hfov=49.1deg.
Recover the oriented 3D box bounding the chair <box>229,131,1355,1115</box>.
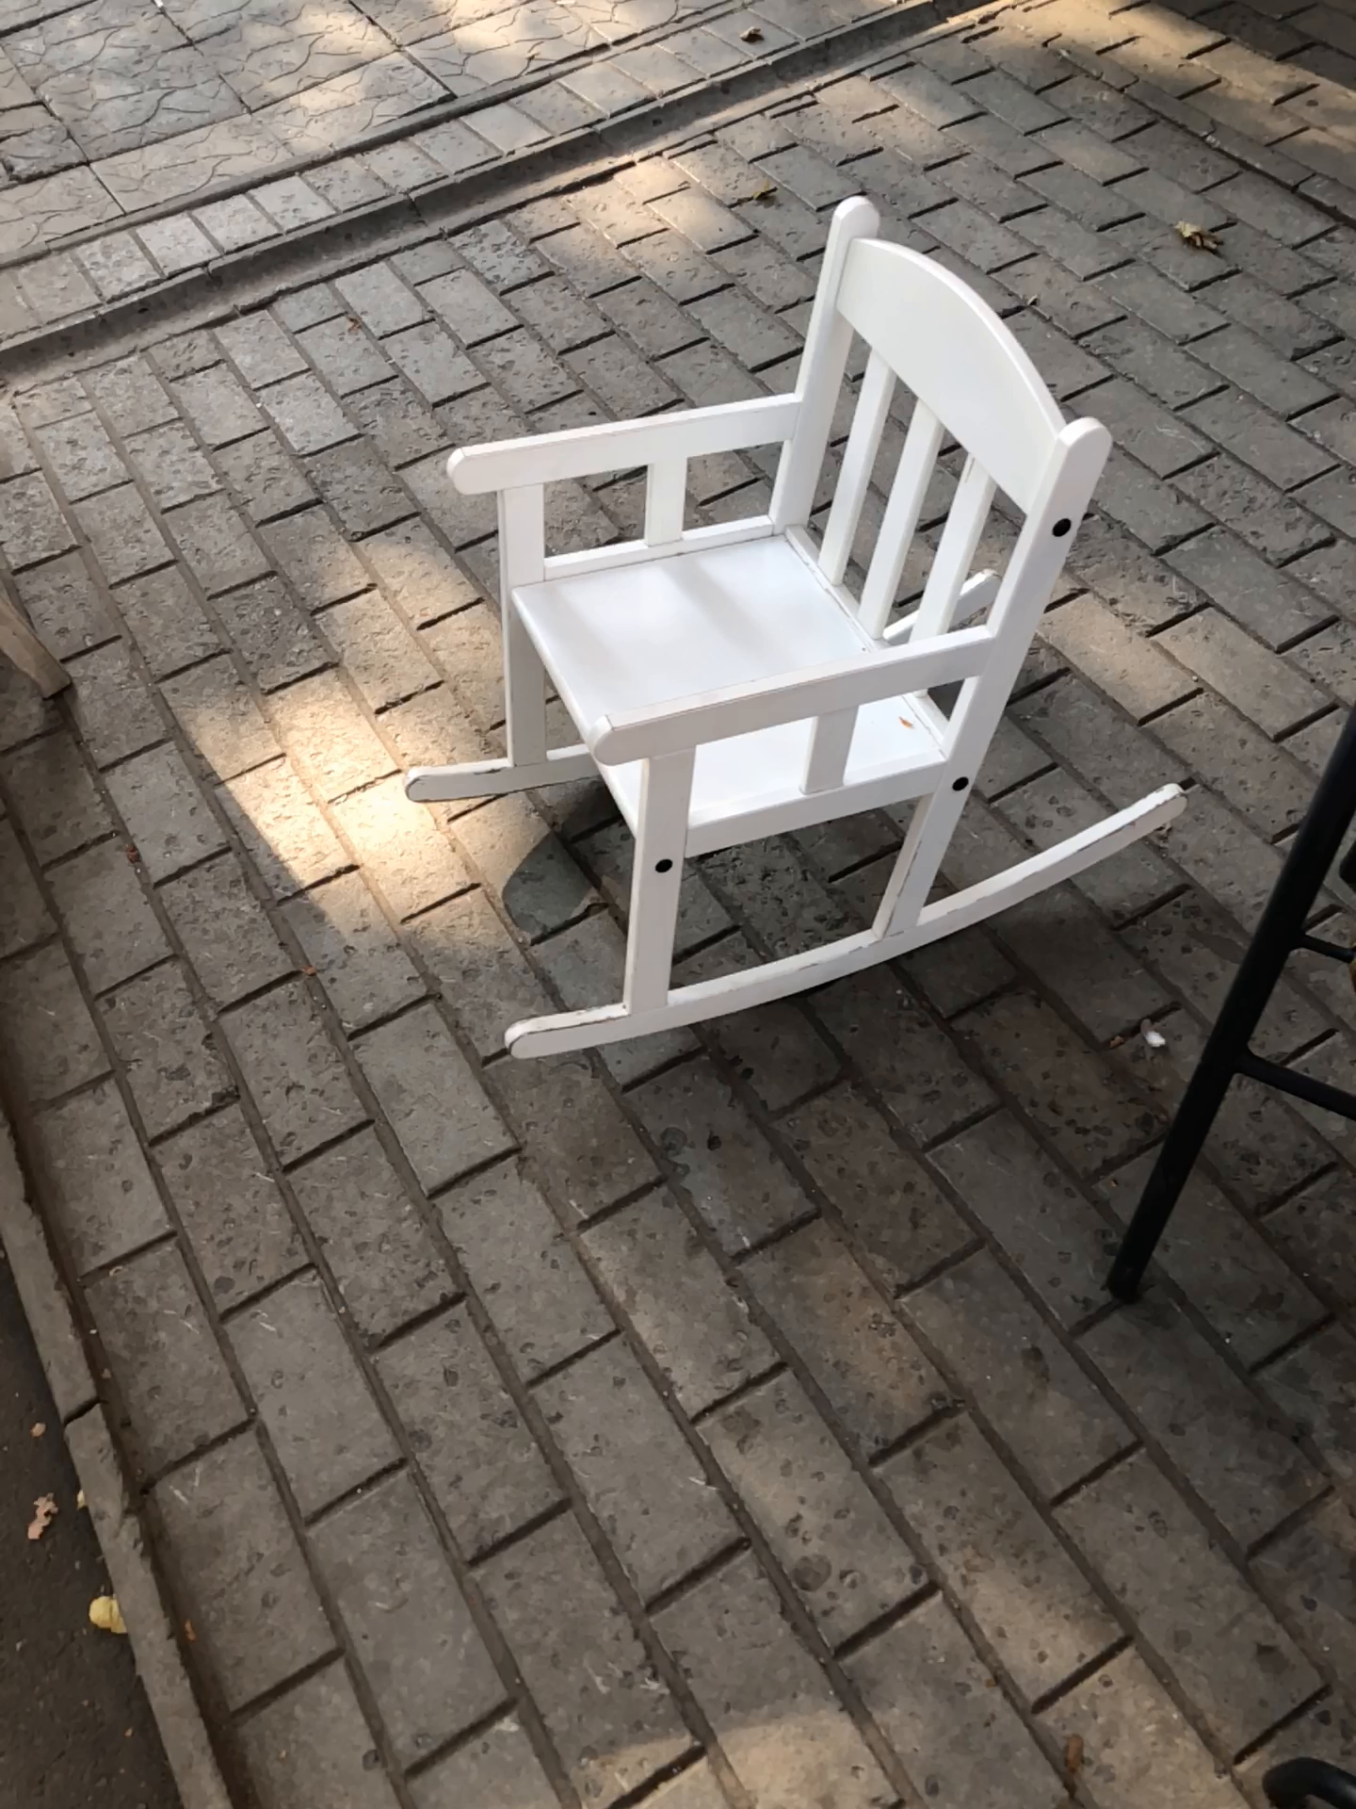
[{"bbox_3d":[0.098,-0.251,1.275,0.750,0.458,0.441,-21,53,-12],"label":"chair"}]
